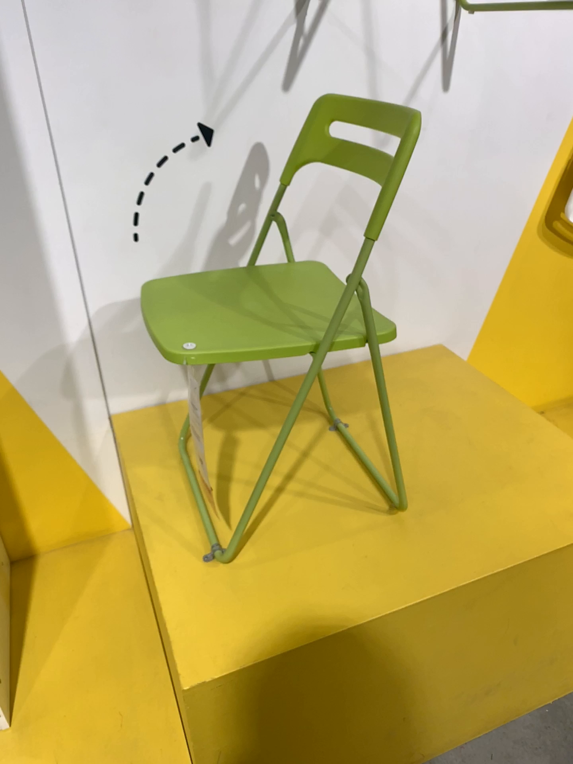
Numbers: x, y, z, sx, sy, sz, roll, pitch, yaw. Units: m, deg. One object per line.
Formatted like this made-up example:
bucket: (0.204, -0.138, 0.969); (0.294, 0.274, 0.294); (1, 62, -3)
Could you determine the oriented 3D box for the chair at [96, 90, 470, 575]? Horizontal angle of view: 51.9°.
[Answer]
chair: (-0.035, -0.121, 1.105); (0.460, 0.717, 0.452); (-12, 32, -17)
